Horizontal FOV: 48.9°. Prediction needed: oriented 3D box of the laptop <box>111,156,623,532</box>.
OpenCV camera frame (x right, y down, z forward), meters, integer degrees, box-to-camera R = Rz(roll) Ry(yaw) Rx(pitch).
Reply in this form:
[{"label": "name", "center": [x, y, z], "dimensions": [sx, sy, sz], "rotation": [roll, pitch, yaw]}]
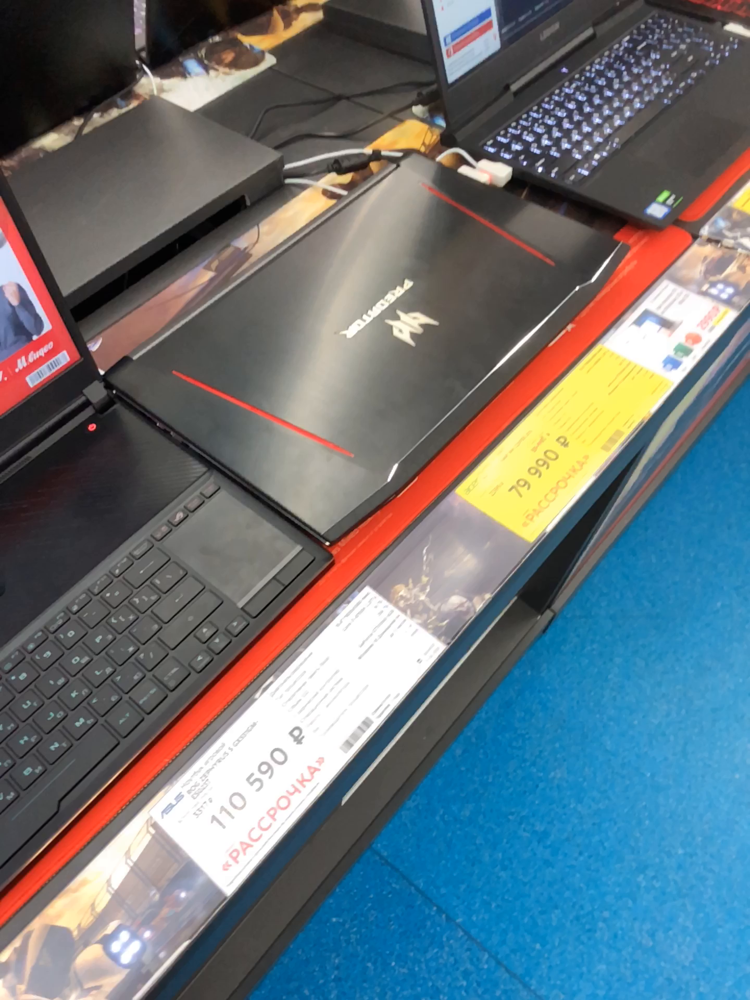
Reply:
[{"label": "laptop", "center": [0.004, -0.157, 0.675], "dimensions": [0.228, 0.004, 0.378], "rotation": [33, 62, 25]}]
